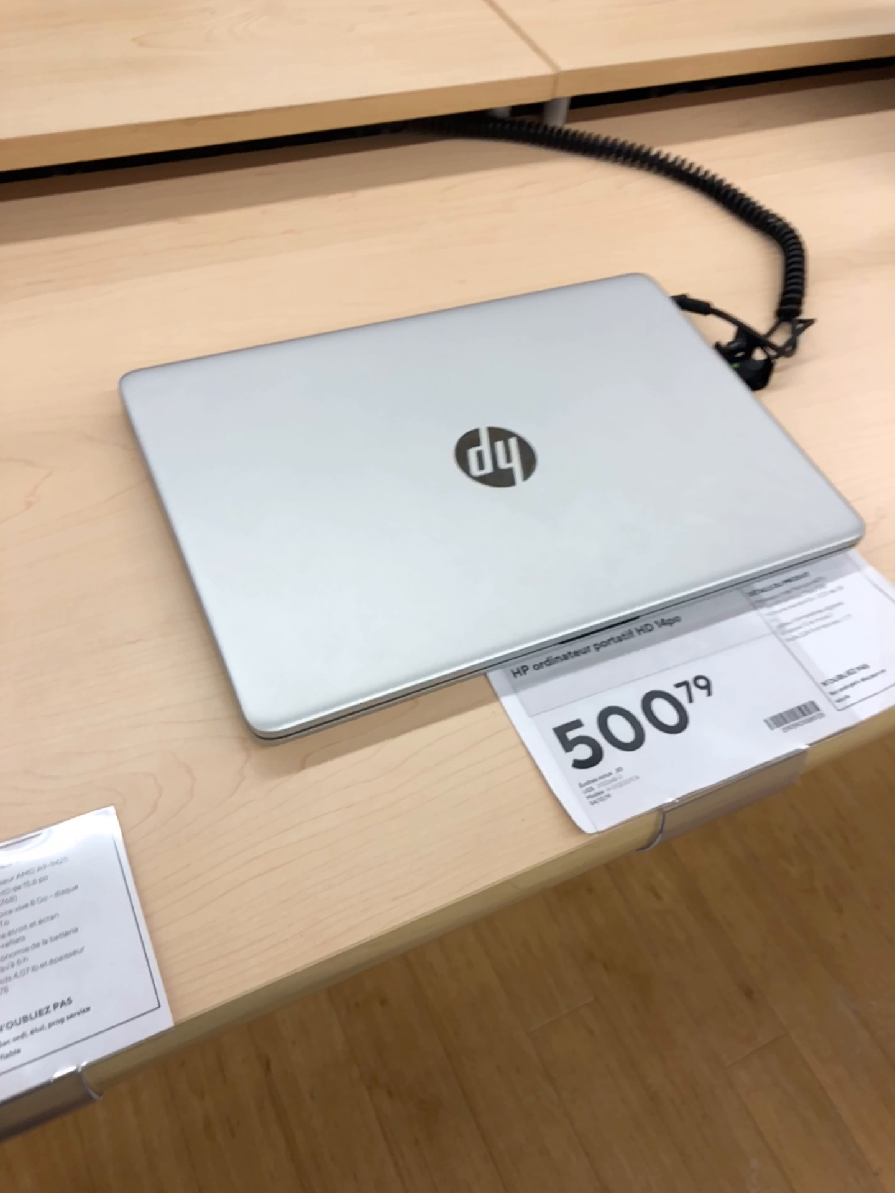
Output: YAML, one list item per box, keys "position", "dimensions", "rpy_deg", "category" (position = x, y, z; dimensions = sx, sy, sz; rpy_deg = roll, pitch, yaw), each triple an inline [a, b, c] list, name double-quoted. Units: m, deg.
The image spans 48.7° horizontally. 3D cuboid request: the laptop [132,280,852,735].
- position: [0.025, -0.069, 0.494]
  dimensions: [0.310, 0.004, 0.205]
  rpy_deg: [-17, 58, -22]
  category: "laptop"
